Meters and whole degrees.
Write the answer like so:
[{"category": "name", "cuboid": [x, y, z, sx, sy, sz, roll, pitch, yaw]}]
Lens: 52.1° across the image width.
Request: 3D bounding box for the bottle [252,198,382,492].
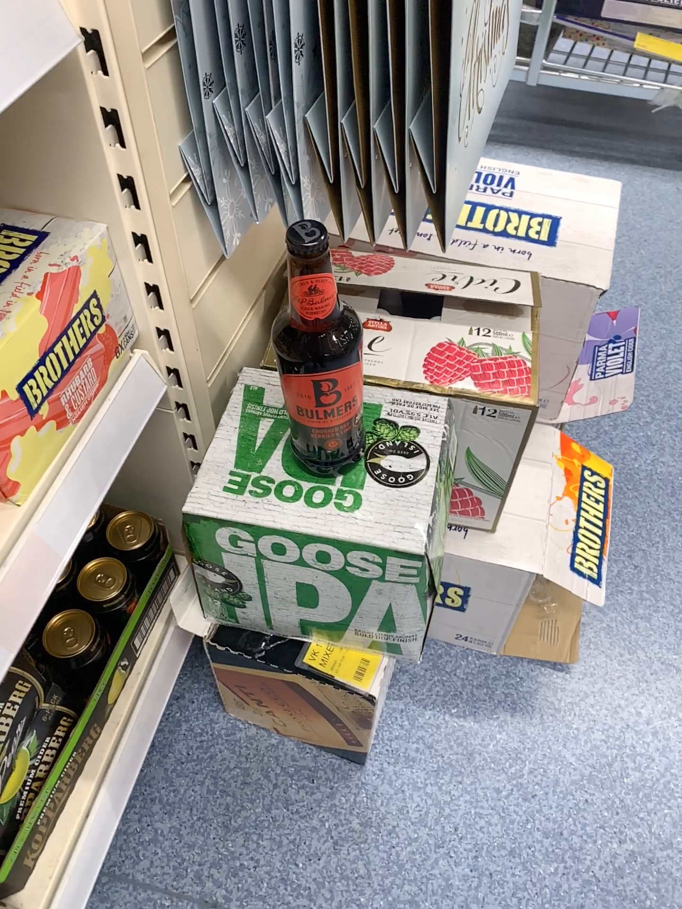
[{"category": "bottle", "cuboid": [-0.014, -0.073, 0.556, 0.070, 0.234, 0.071, -1, 52, 1]}]
